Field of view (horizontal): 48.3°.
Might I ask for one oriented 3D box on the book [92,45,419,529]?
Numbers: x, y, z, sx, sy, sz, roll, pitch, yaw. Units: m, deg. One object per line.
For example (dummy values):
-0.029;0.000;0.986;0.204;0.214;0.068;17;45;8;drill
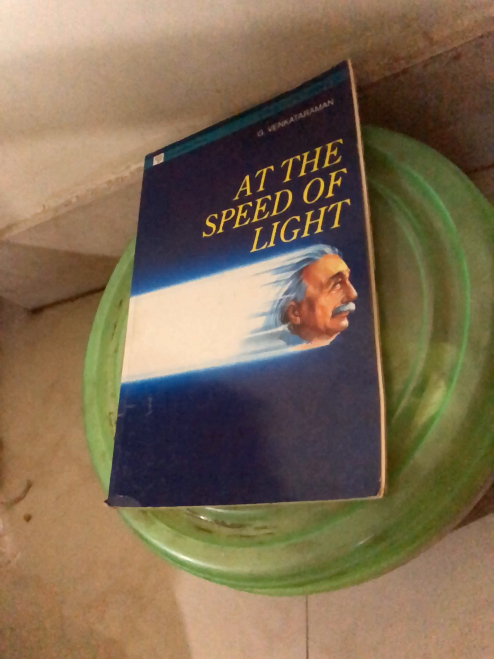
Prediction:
-0.004;-0.023;0.282;0.150;0.020;0.230;-14;62;29;book
